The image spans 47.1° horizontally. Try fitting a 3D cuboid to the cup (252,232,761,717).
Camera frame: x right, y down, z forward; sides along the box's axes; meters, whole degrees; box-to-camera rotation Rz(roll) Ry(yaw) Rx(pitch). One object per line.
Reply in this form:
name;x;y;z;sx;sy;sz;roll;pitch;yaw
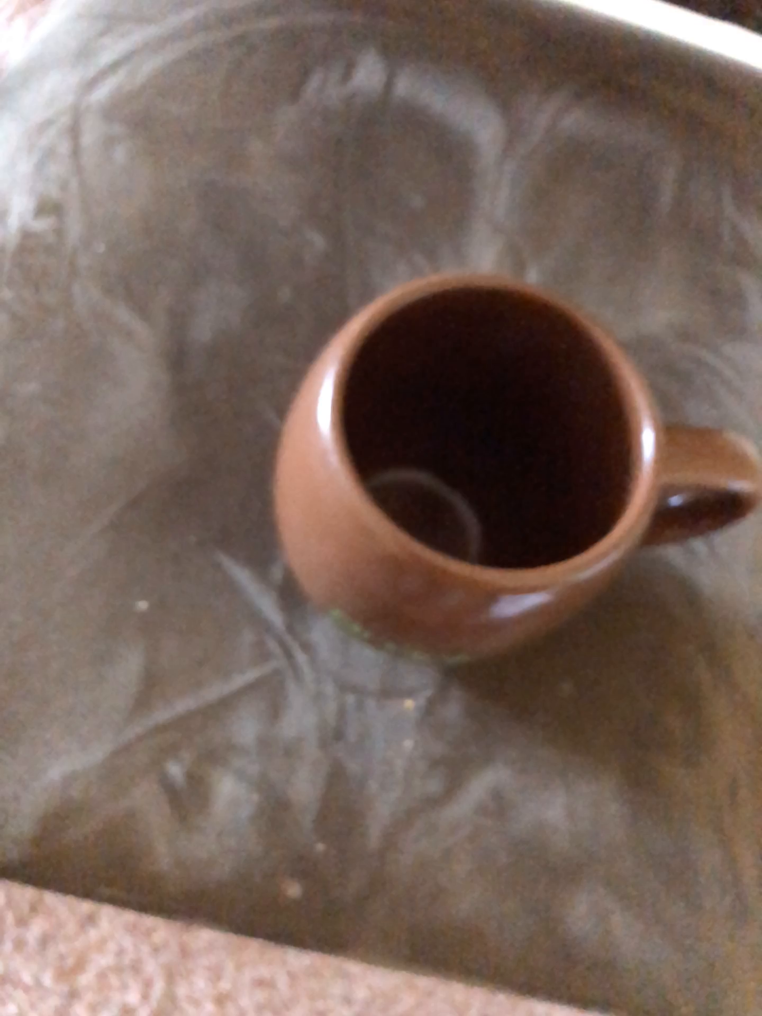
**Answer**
cup;0.044;0.003;0.253;0.140;0.100;0.090;9;70;-13
